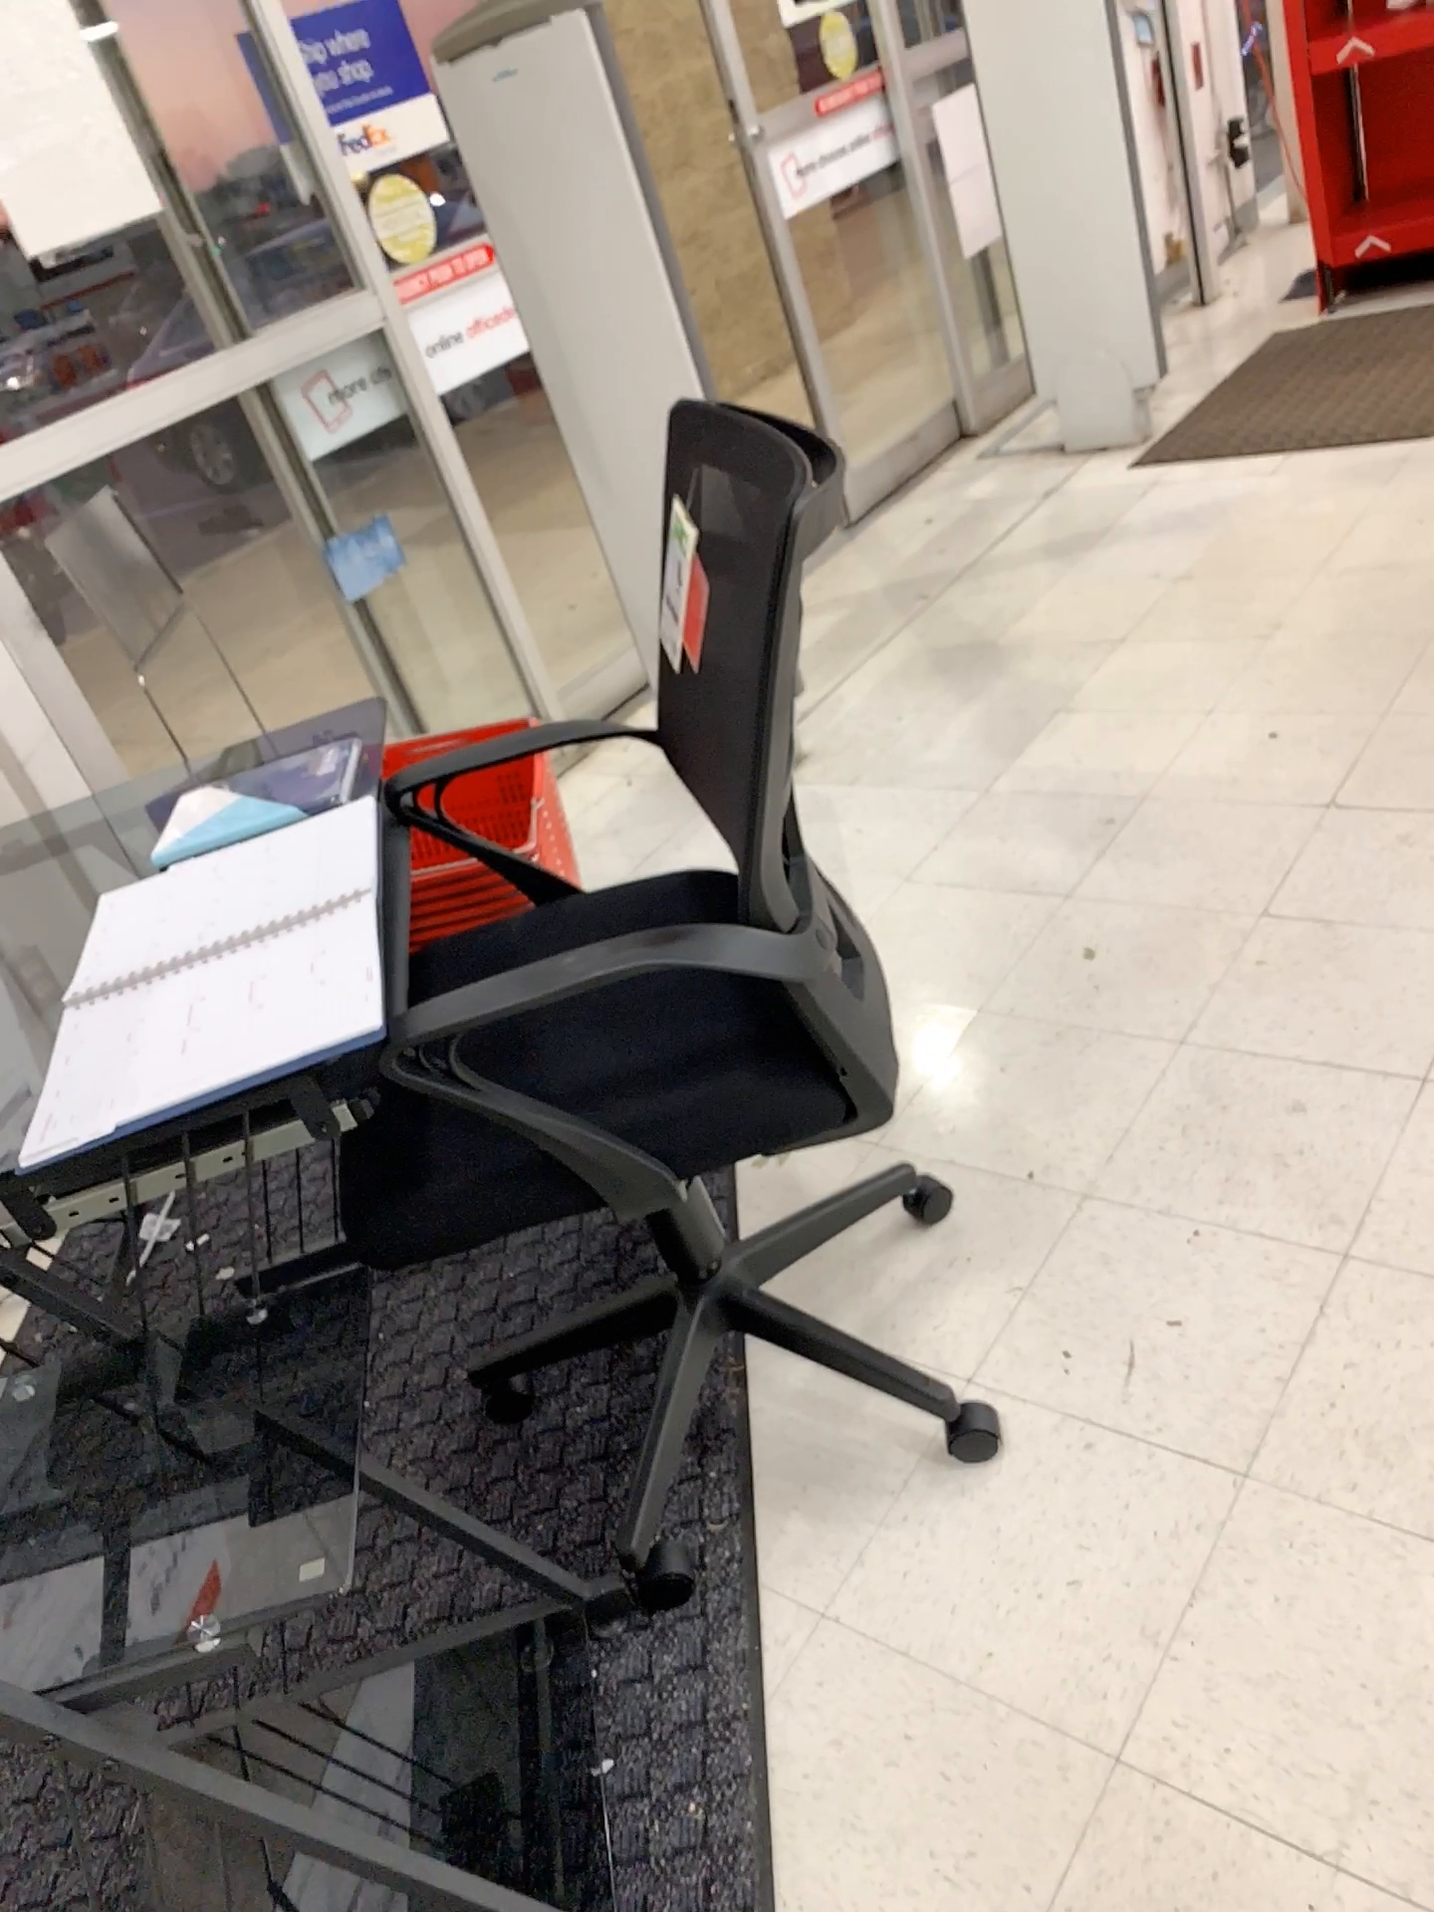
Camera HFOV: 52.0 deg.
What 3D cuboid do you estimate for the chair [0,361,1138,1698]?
[{"bbox_3d":[-0.125,0.050,1.441,0.694,0.942,0.617,-22,30,-3],"label":"chair"}]
